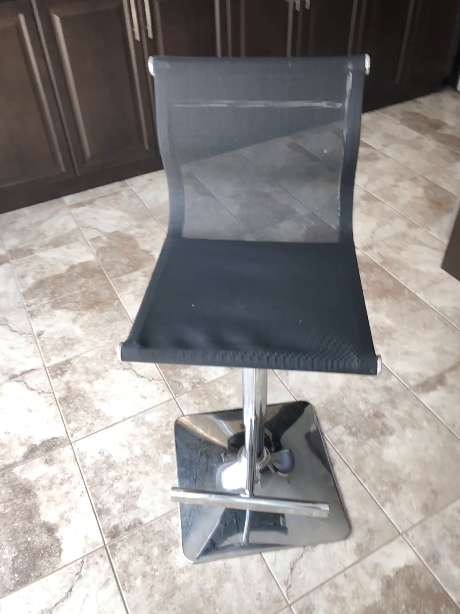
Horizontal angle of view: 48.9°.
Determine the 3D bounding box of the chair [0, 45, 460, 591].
[{"bbox_3d":[0.069,0.072,1.042,0.540,0.976,0.552,3,42,6],"label":"chair"}]
